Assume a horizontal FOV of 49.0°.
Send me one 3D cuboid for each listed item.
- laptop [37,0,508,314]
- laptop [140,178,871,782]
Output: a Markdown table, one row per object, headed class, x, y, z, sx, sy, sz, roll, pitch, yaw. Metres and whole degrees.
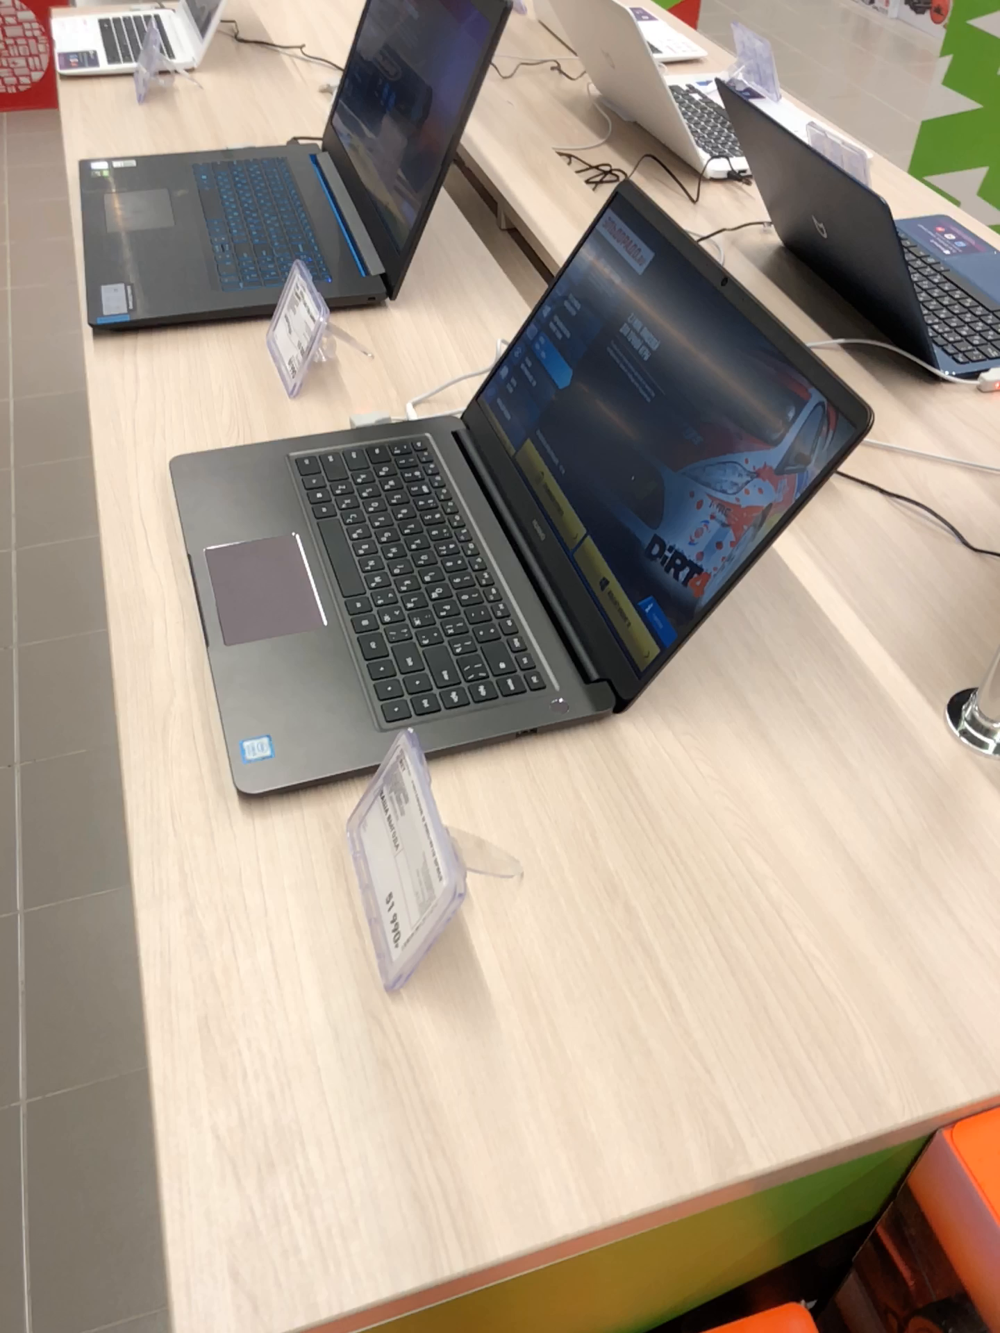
| class | x | y | z | sx | sy | sz | roll | pitch | yaw |
| --- | --- | --- | --- | --- | --- | --- | --- | --- | --- |
| laptop | -0.236 | -0.575 | 1.107 | 0.378 | 0.242 | 0.393 | -10 | 45 | -13 |
| laptop | -0.024 | -0.151 | 0.732 | 0.358 | 0.180 | 0.346 | -12 | 46 | -14 |
